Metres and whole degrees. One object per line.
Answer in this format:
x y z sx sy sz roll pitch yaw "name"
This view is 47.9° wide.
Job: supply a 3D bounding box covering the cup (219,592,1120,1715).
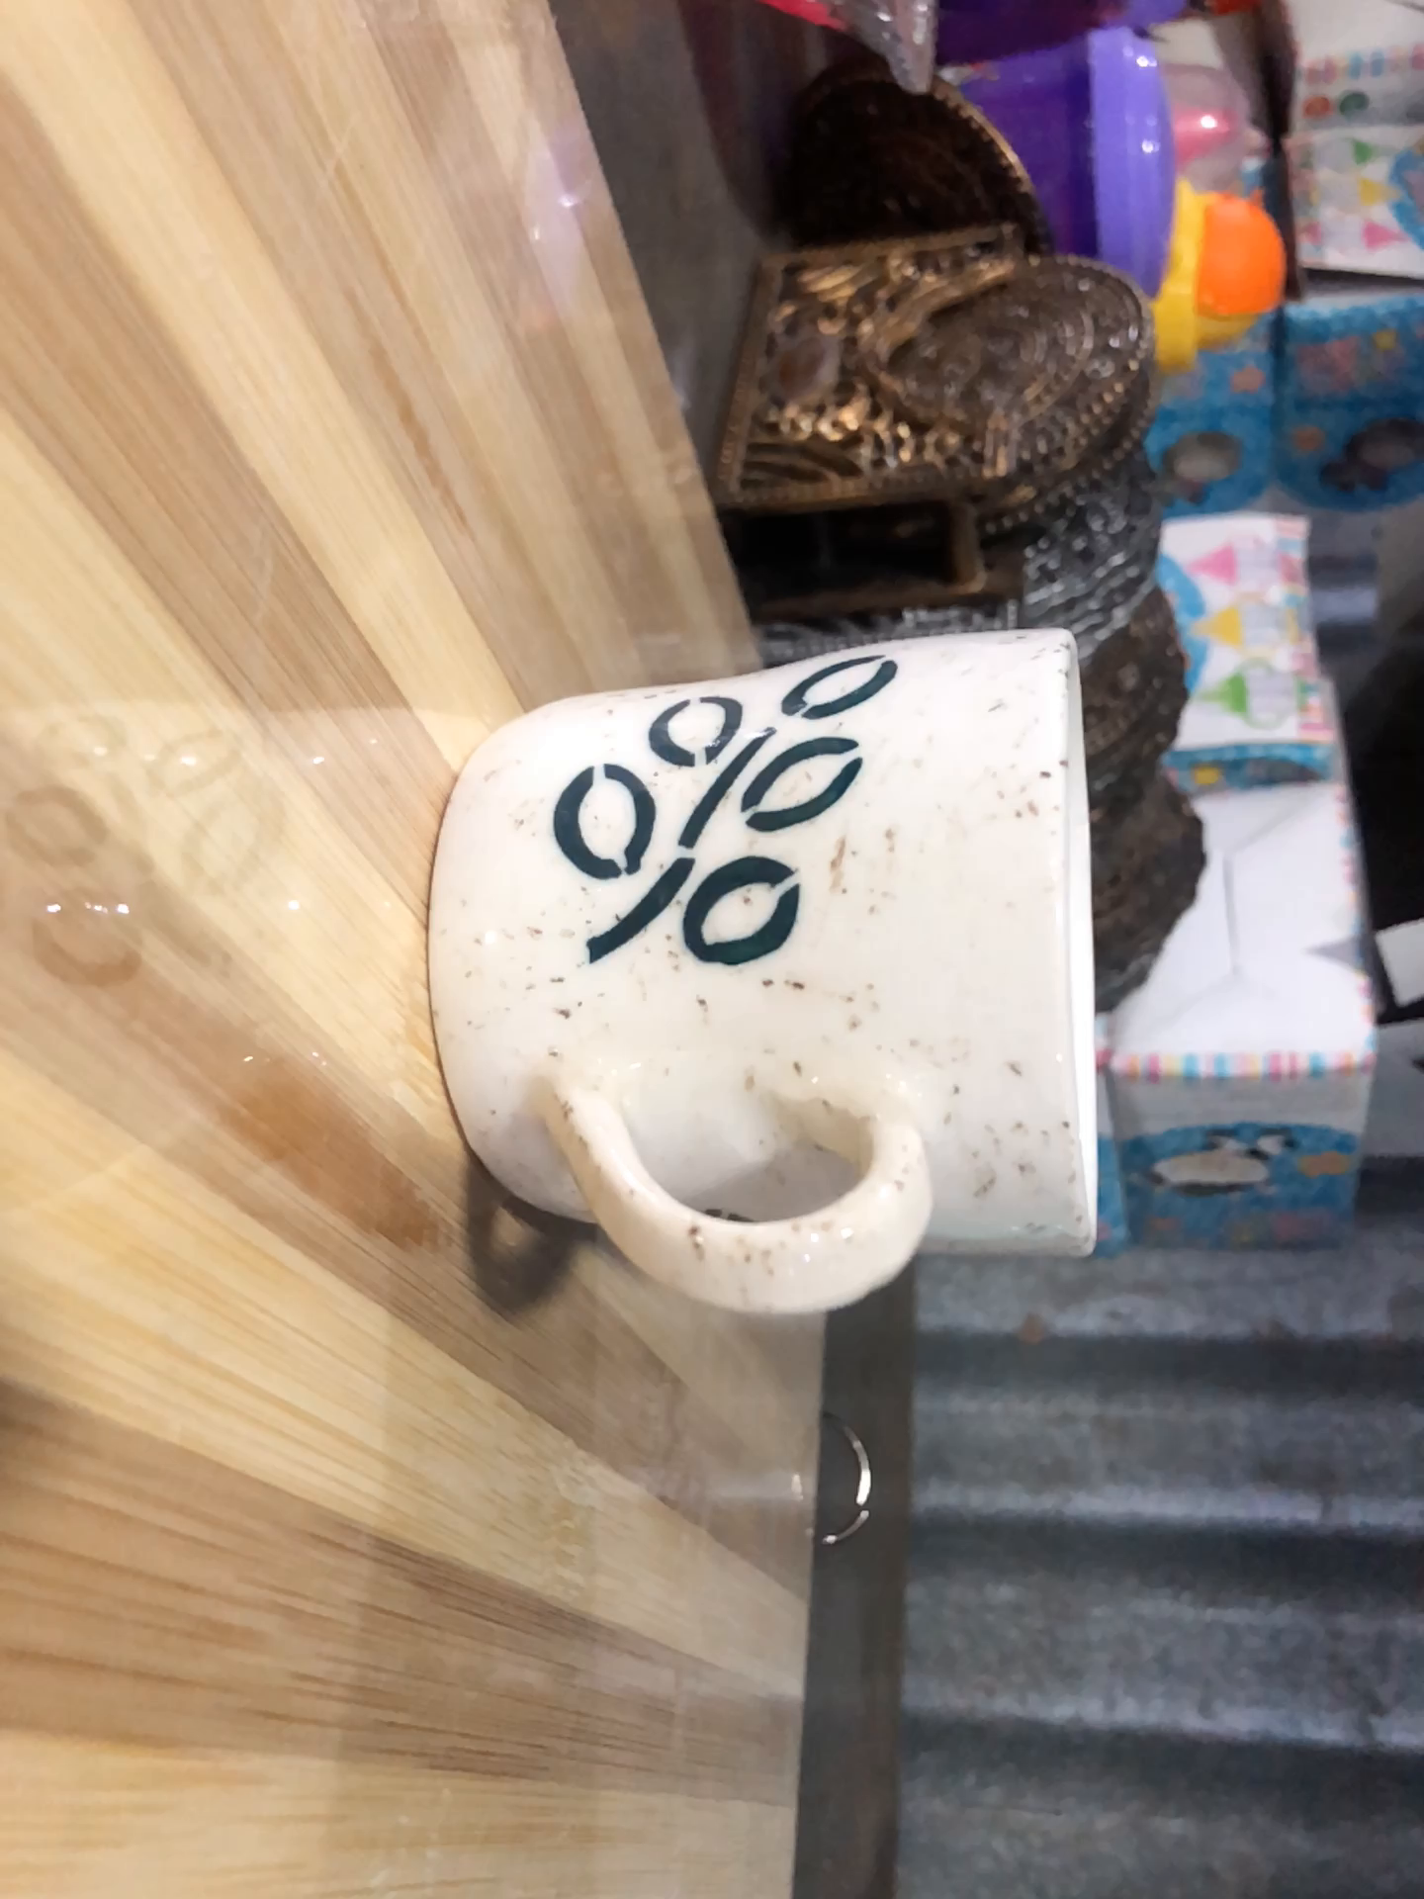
0.008 0.018 0.180 0.090 0.070 0.080 -74 158 -52 "cup"
